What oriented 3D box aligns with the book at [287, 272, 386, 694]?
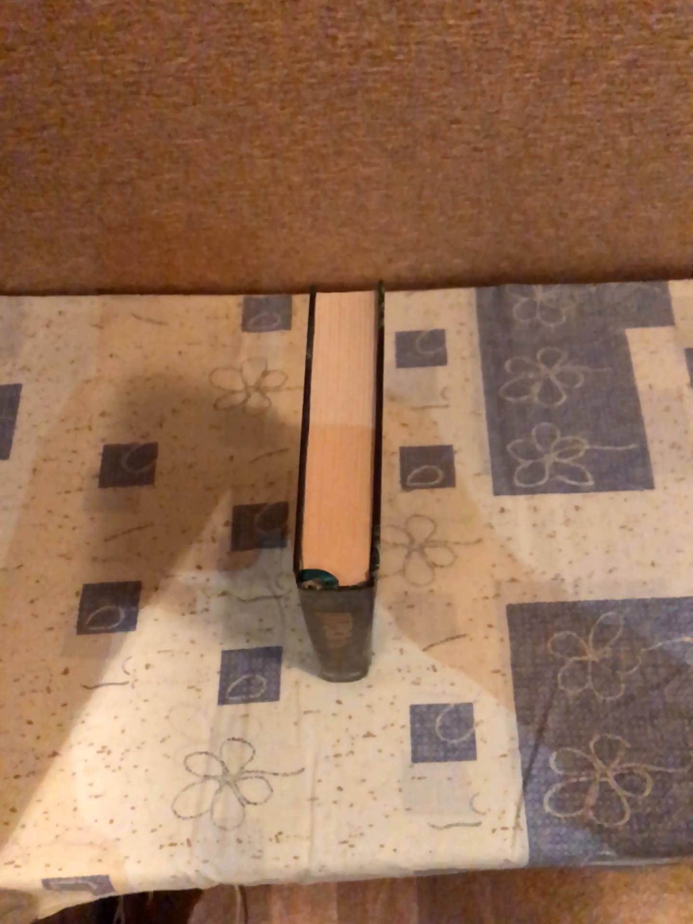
[{"bbox_3d":[0.002,0.028,0.454,0.040,0.216,0.173,0,63,3],"label":"book"}]
